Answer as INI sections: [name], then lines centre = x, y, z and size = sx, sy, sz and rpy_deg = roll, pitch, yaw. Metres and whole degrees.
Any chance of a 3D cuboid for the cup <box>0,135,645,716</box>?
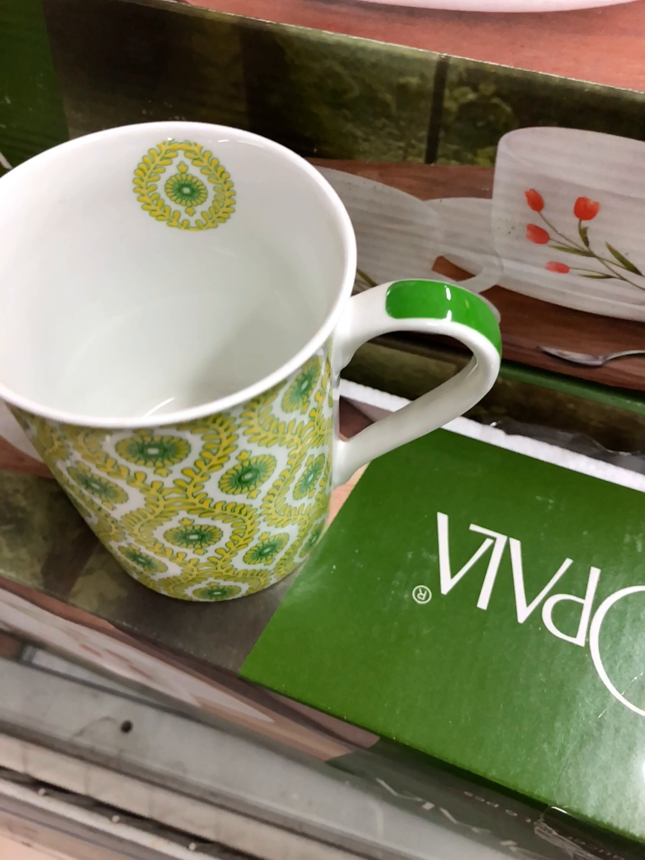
[cup]
centre = -0.010, 0.003, 0.161
size = 0.110, 0.090, 0.080
rpy_deg = -6, 55, -5
